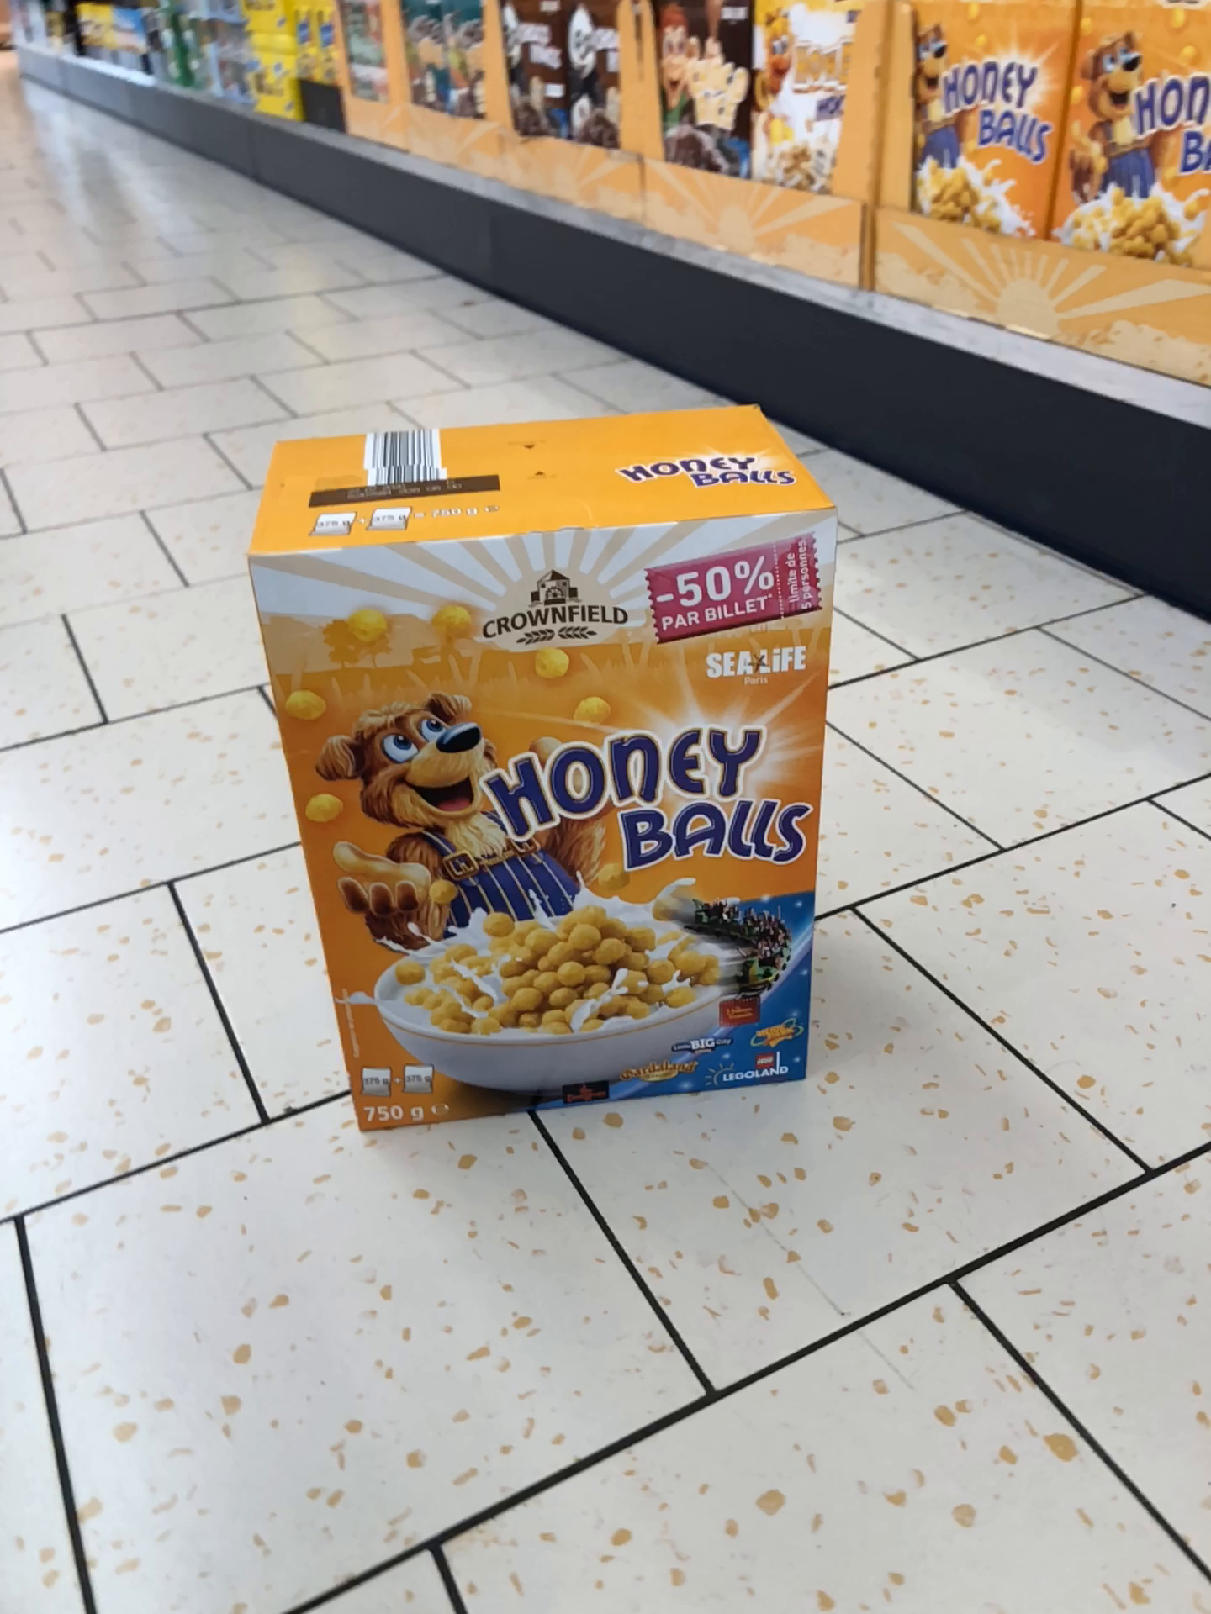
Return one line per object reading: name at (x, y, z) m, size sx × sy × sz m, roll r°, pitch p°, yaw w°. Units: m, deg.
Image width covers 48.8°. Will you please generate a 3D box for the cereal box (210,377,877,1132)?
cereal box at (-0.019, -0.020, 0.542) m, size 0.210 × 0.259 × 0.131 m, roll -5°, pitch 32°, yaw -4°
